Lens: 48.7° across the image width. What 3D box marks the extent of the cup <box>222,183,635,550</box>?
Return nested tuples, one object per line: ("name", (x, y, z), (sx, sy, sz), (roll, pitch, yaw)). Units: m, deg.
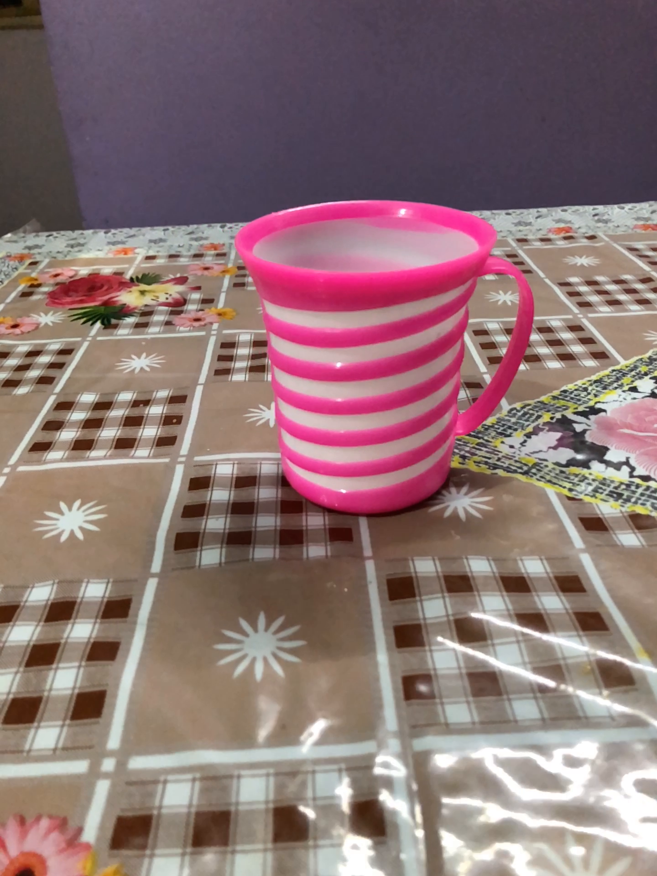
("cup", (0.028, -0.031, 0.257), (0.110, 0.089, 0.080), (-10, 32, -13))
